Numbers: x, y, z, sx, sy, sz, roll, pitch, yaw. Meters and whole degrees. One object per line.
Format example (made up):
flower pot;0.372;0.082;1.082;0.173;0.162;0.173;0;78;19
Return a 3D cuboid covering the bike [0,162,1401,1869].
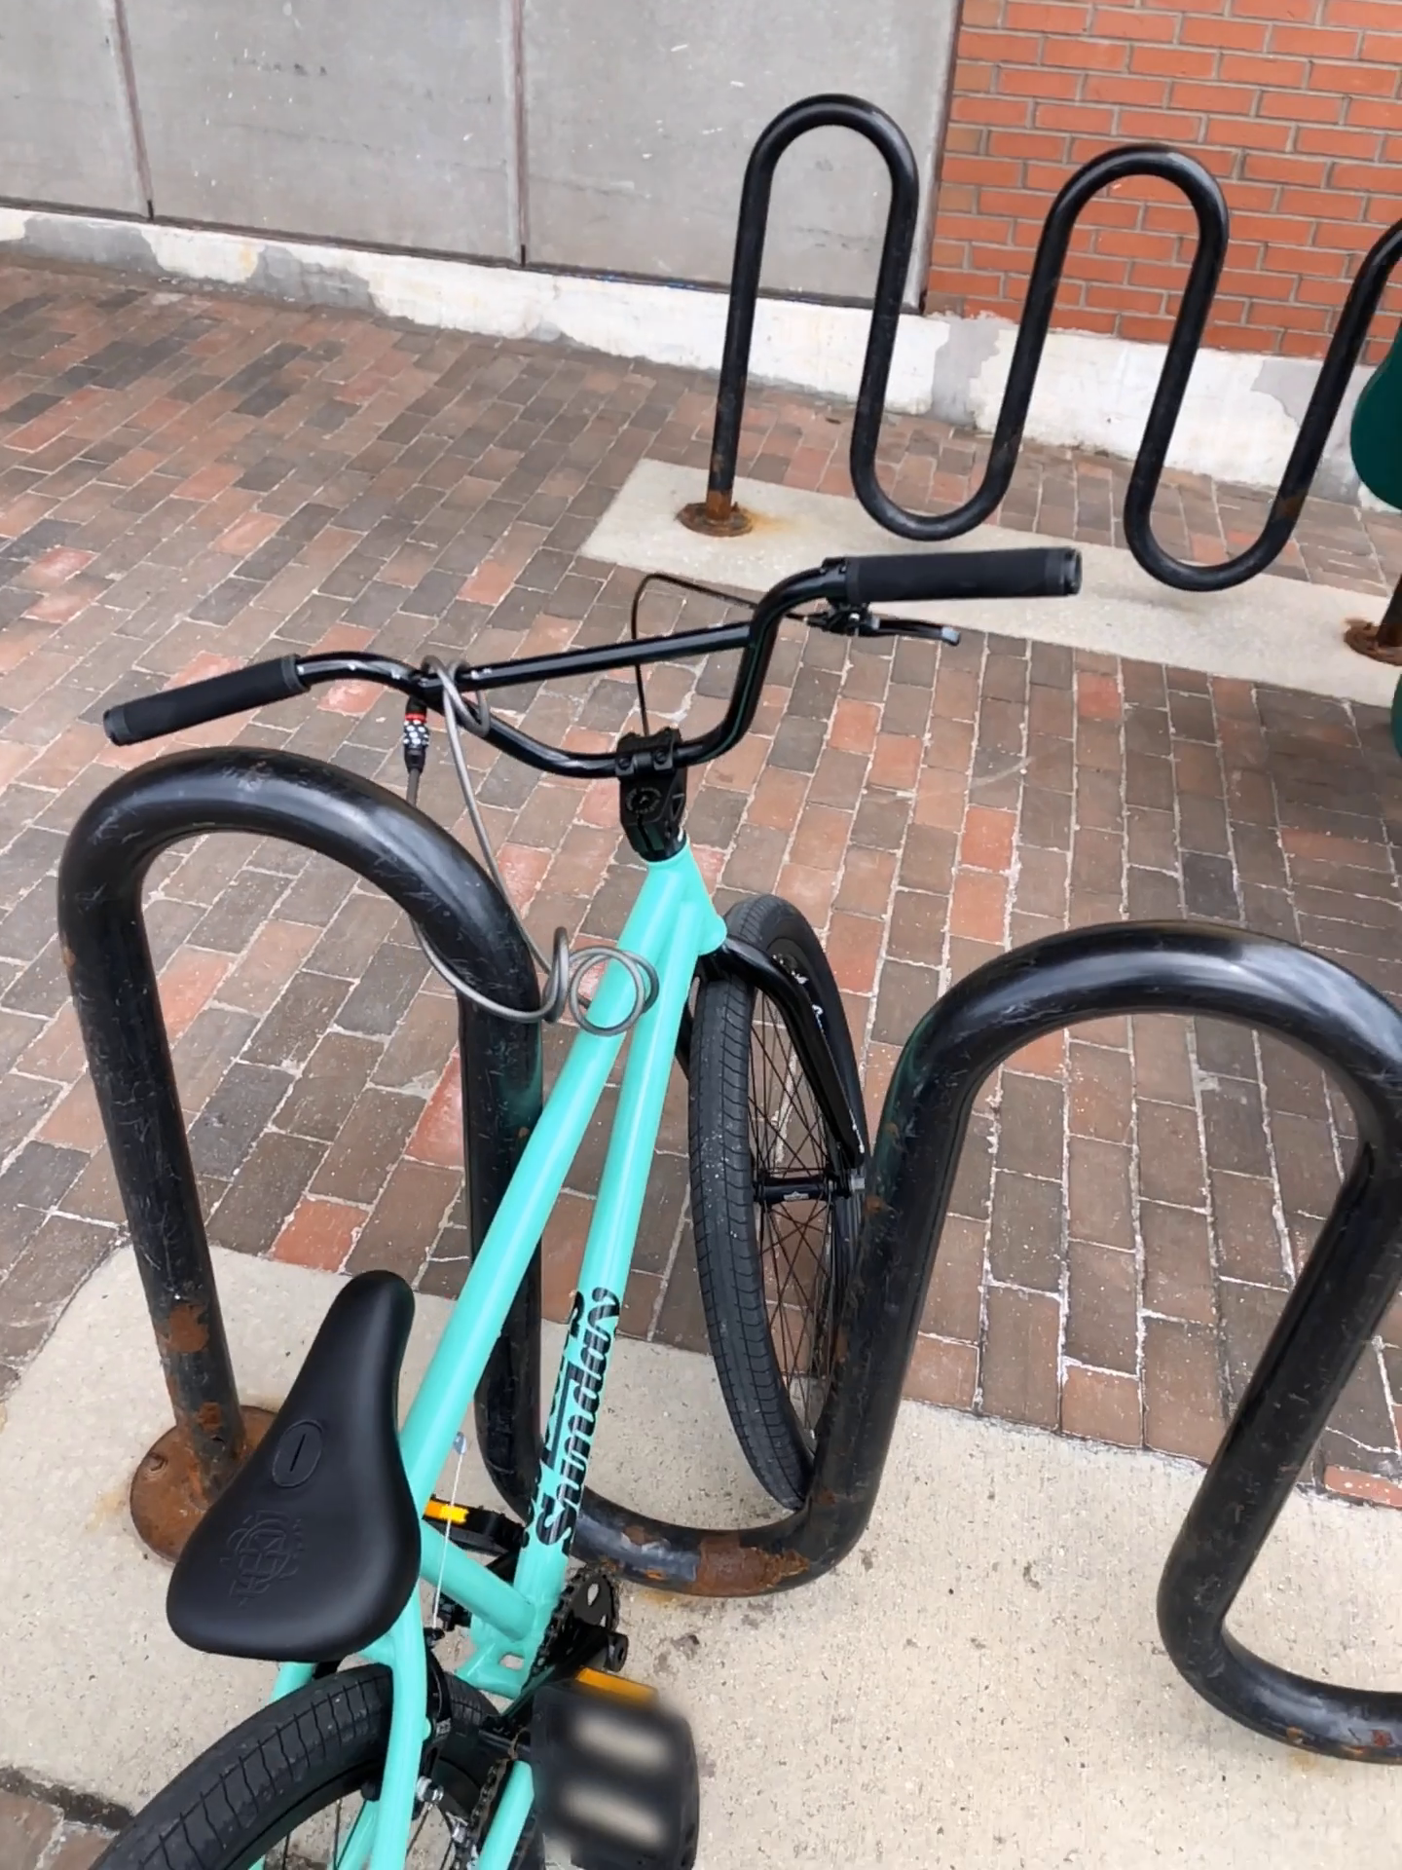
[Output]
bike;-0.123;0.282;1.053;0.810;1.067;1.472;14;41;12
